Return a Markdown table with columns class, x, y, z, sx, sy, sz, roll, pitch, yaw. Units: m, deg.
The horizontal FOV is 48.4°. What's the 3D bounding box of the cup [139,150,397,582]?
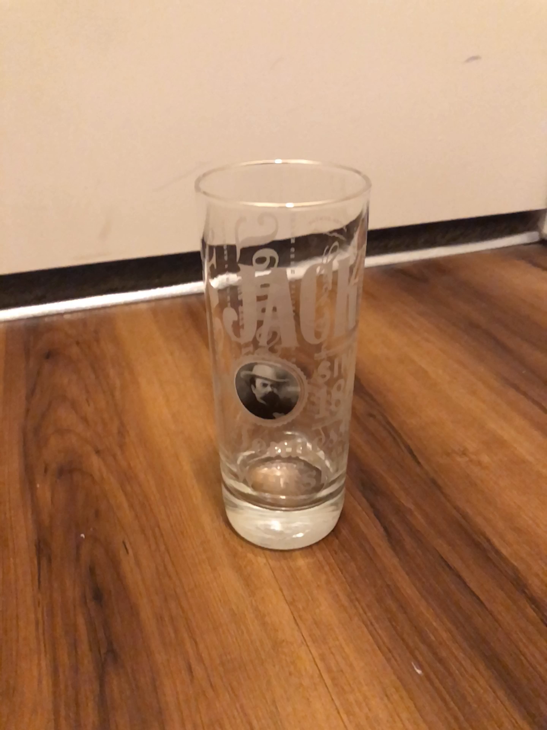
| class | x | y | z | sx | sy | sz | roll | pitch | yaw |
| --- | --- | --- | --- | --- | --- | --- | --- | --- | --- |
| cup | 0.002 | 0.000 | 0.246 | 0.067 | 0.150 | 0.068 | 0 | 30 | 0 |
